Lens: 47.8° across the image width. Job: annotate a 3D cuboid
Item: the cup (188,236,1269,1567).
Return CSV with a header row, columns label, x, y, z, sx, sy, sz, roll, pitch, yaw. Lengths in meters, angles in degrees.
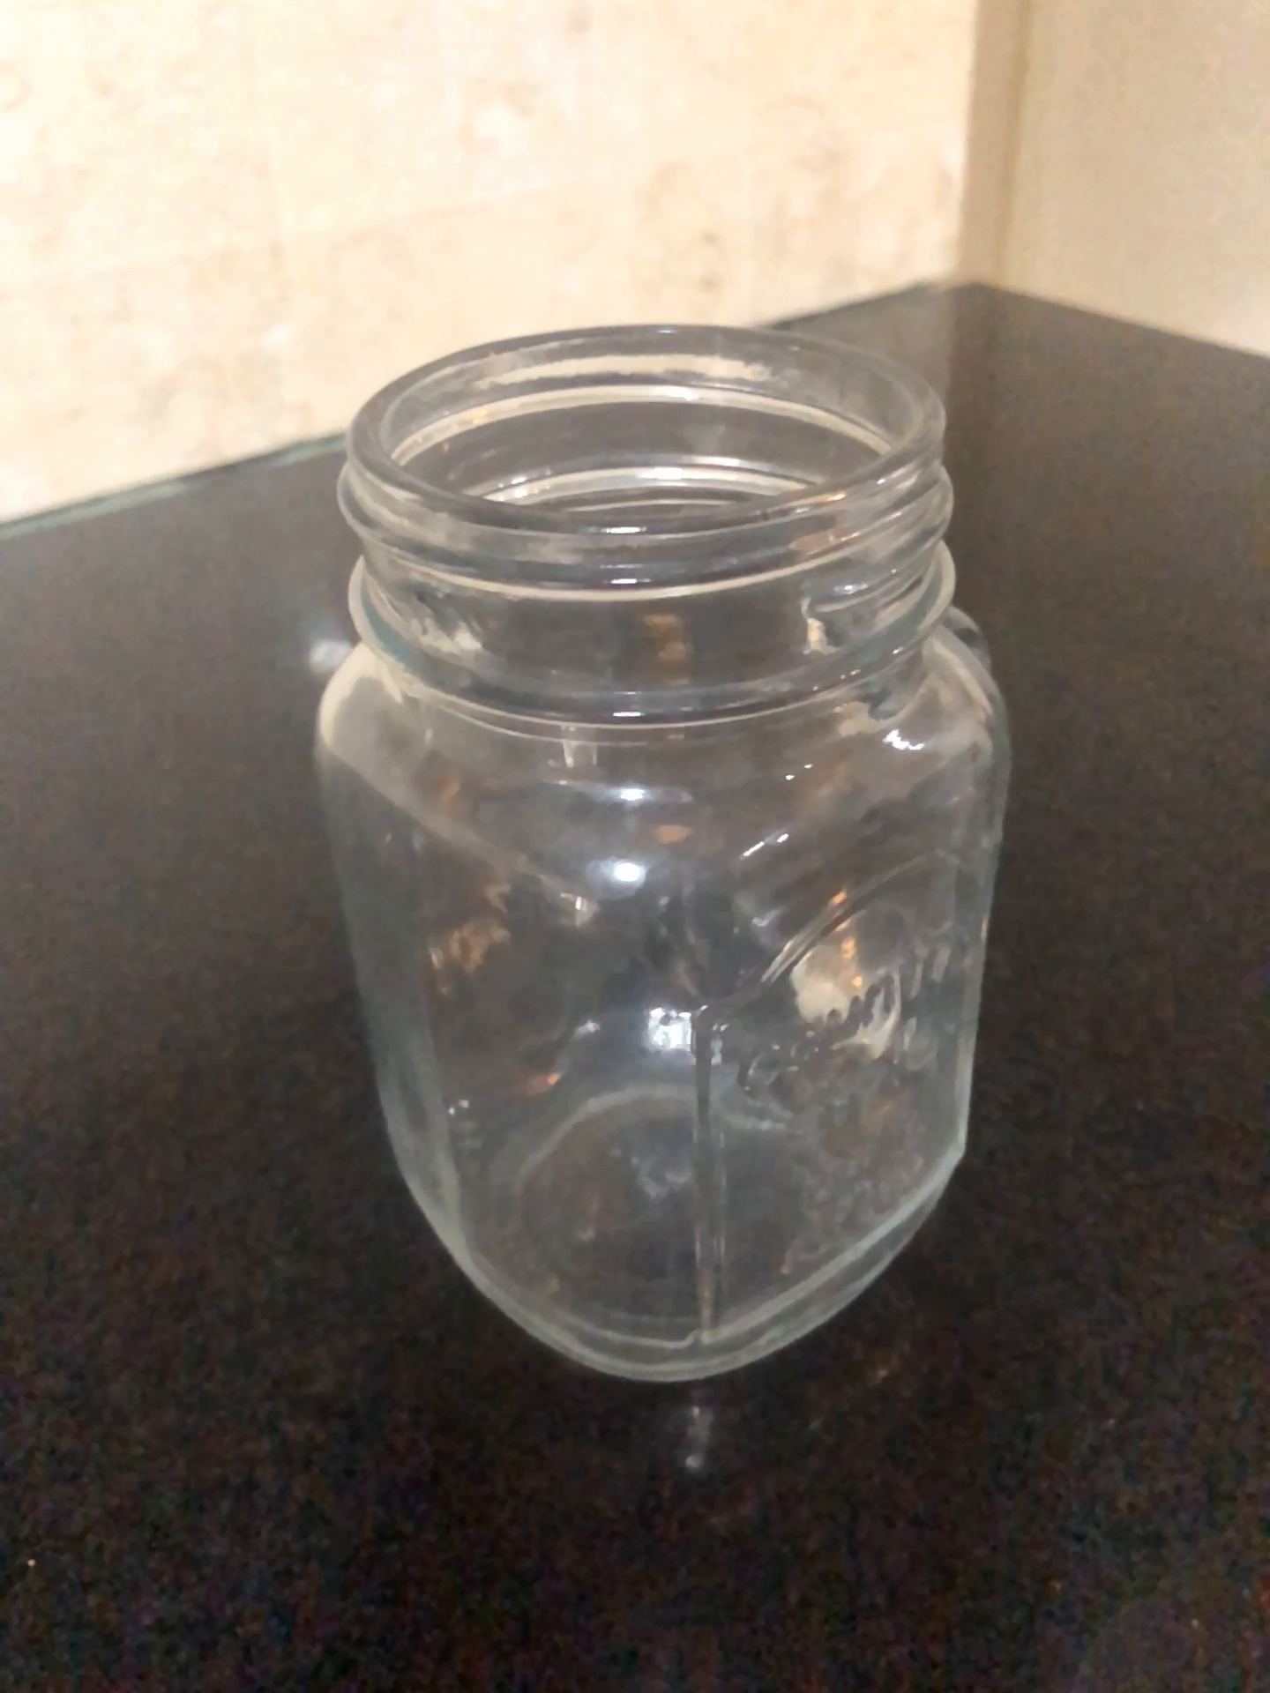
label,x,y,z,sx,sy,sz,roll,pitch,yaw
cup,0.021,-0.001,0.199,0.110,0.129,0.080,-27,41,-30
